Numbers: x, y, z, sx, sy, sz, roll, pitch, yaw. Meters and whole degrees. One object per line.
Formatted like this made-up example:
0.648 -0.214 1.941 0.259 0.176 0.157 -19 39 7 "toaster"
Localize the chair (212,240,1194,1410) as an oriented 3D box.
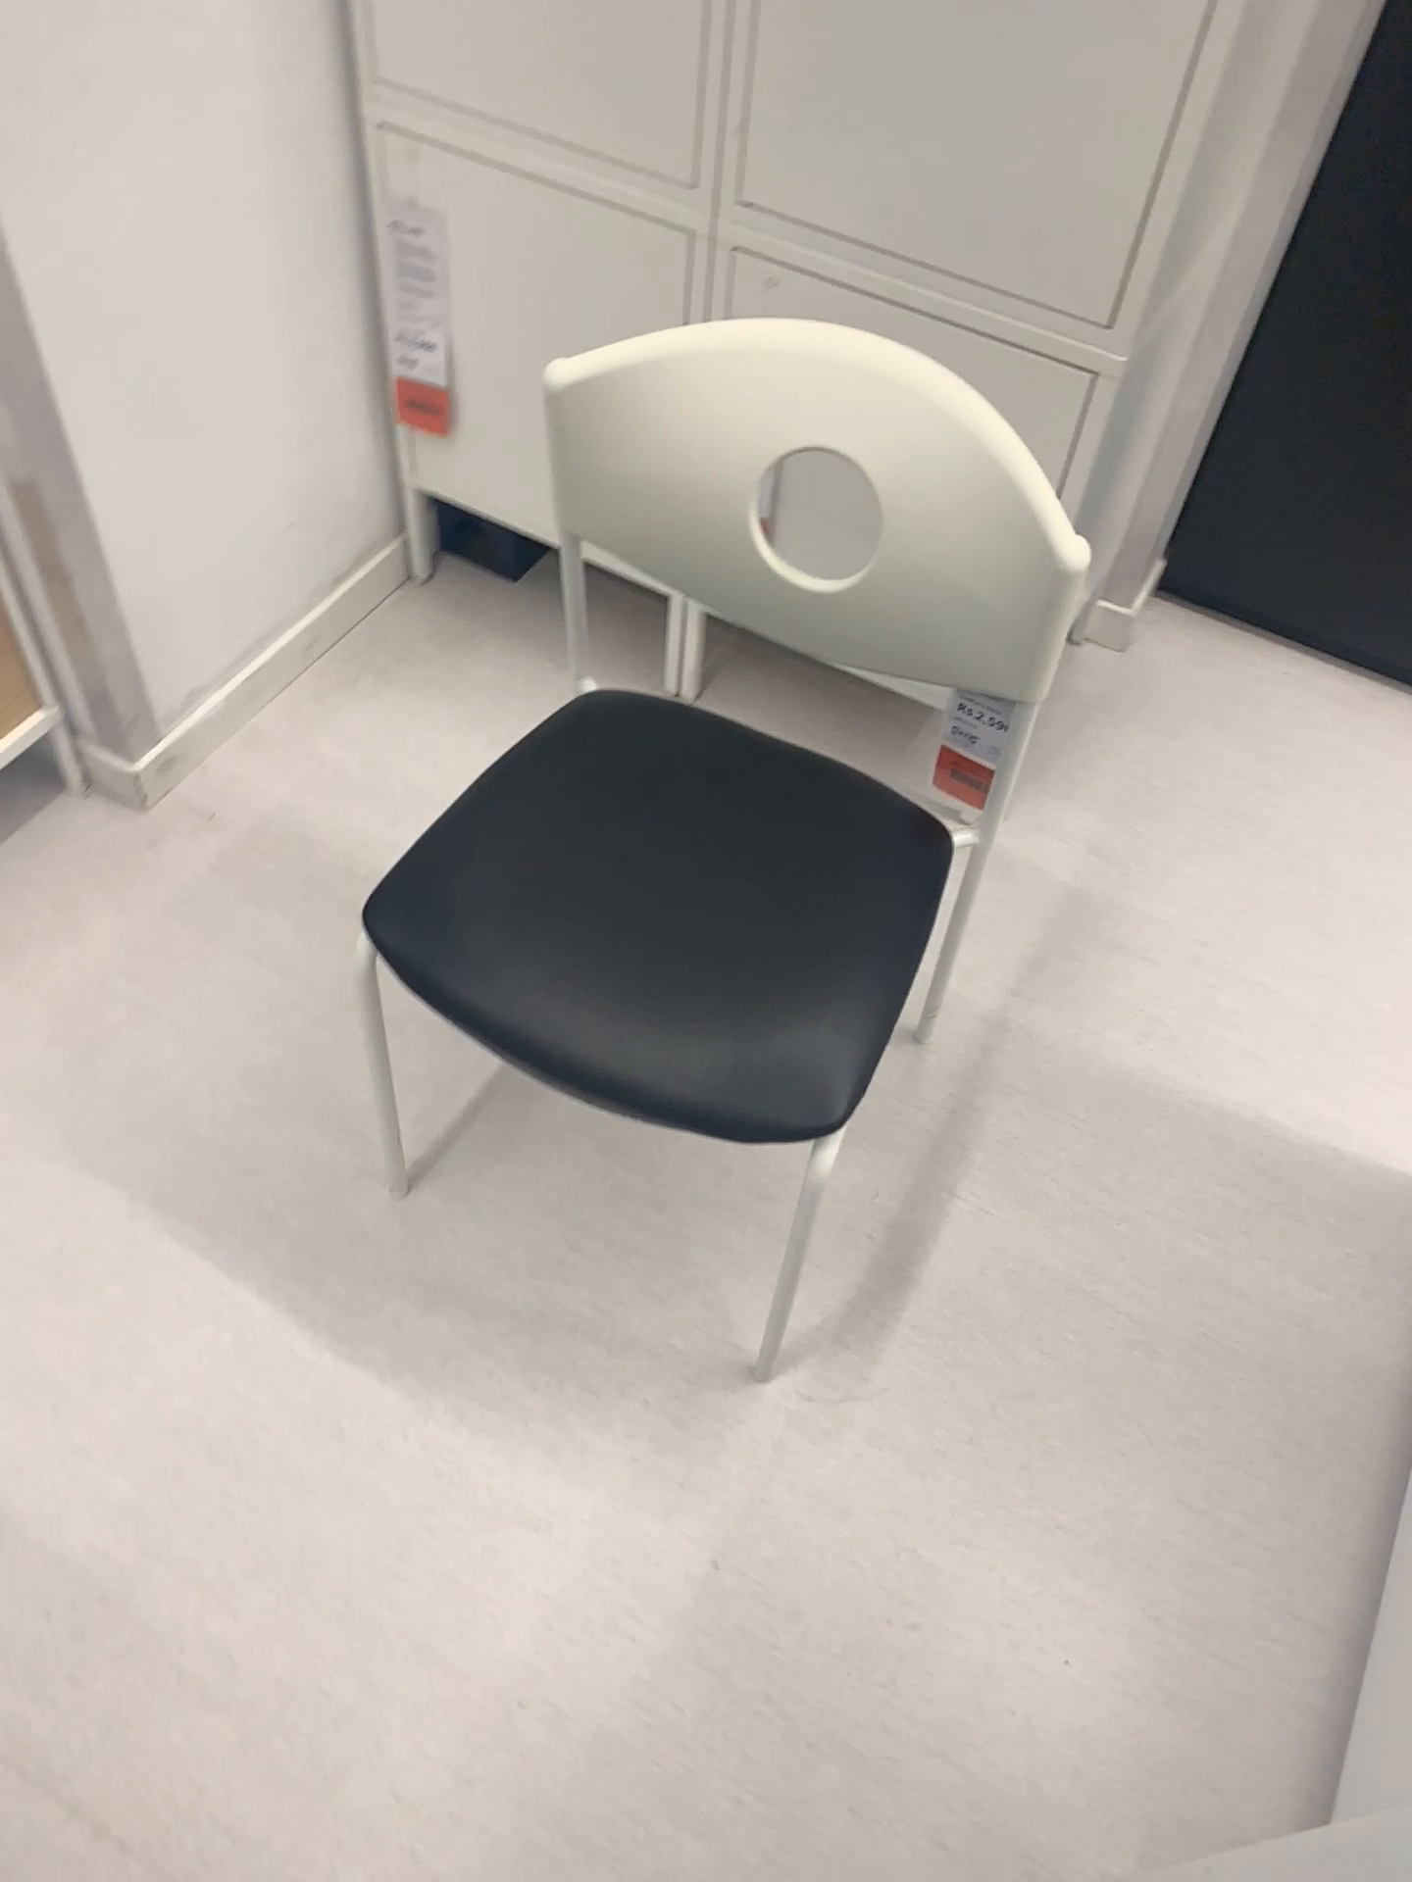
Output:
0.003 -0.058 1.251 0.480 0.768 0.511 23 54 12 "chair"
